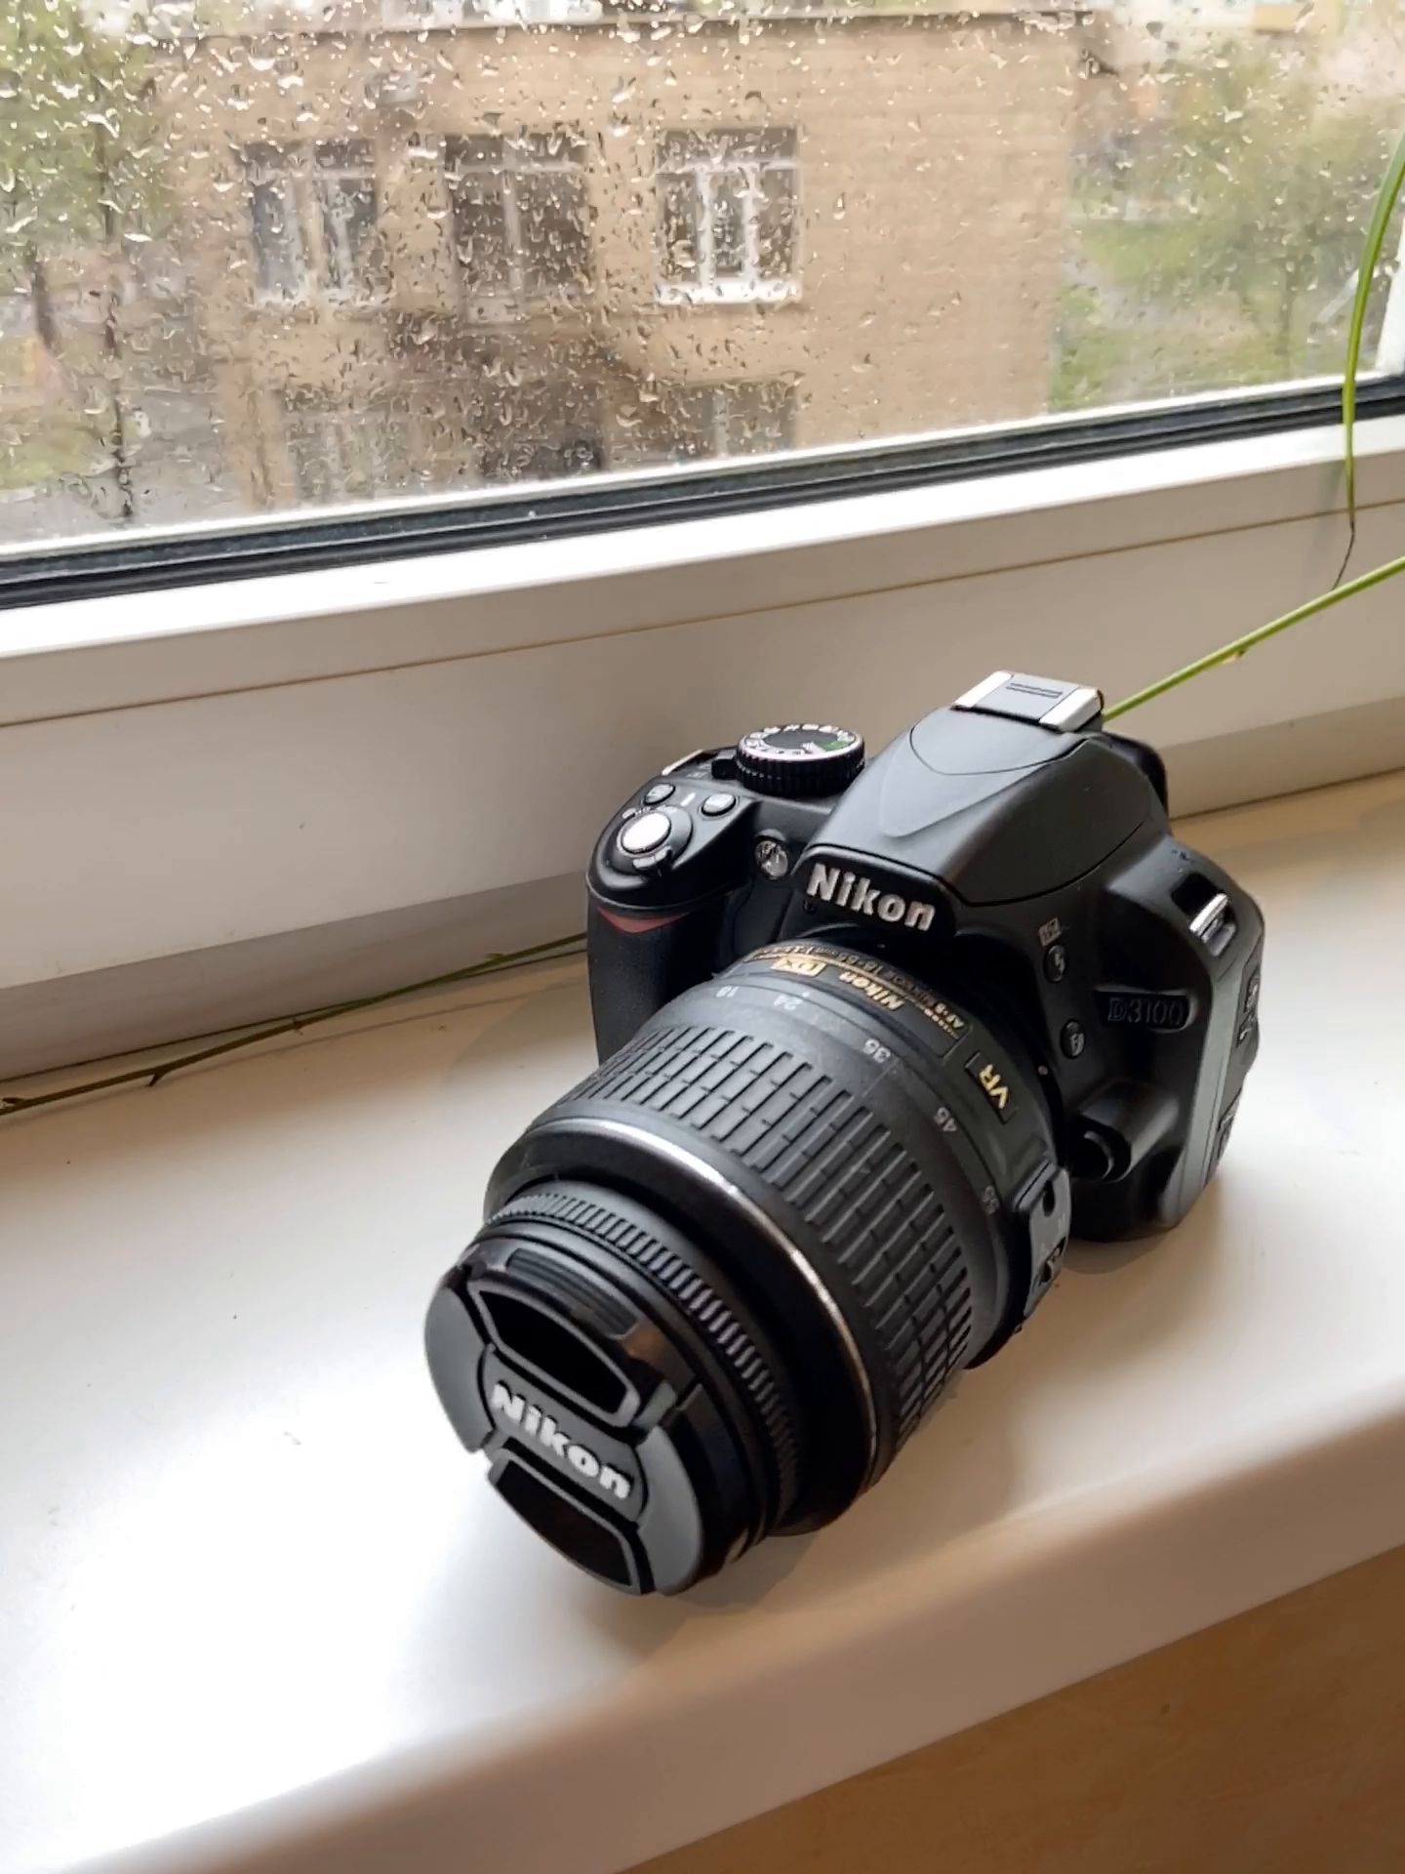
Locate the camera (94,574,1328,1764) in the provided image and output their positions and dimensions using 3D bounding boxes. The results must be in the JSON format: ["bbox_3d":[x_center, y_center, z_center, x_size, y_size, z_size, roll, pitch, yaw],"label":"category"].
[{"bbox_3d":[0.012,0.015,0.246,0.124,0.091,0.155,19,38,29],"label":"camera"}]
